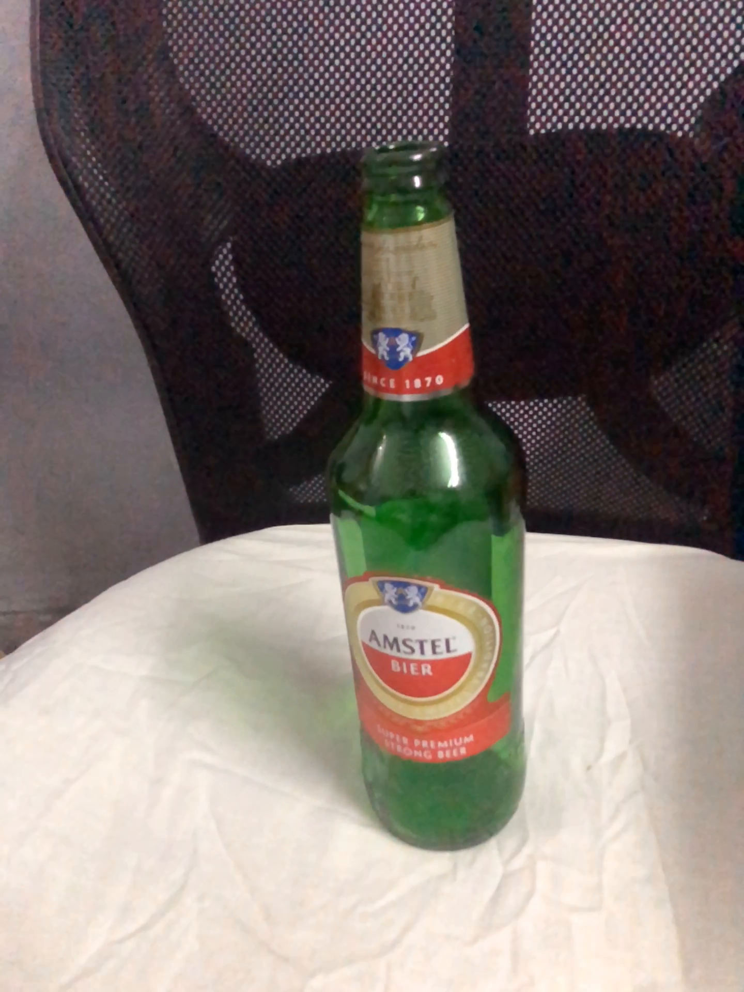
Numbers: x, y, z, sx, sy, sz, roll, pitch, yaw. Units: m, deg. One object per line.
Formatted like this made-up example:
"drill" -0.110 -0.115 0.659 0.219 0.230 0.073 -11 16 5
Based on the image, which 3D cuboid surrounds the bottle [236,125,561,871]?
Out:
"bottle" 0.019 0.020 0.303 0.080 0.279 0.060 5 33 14
